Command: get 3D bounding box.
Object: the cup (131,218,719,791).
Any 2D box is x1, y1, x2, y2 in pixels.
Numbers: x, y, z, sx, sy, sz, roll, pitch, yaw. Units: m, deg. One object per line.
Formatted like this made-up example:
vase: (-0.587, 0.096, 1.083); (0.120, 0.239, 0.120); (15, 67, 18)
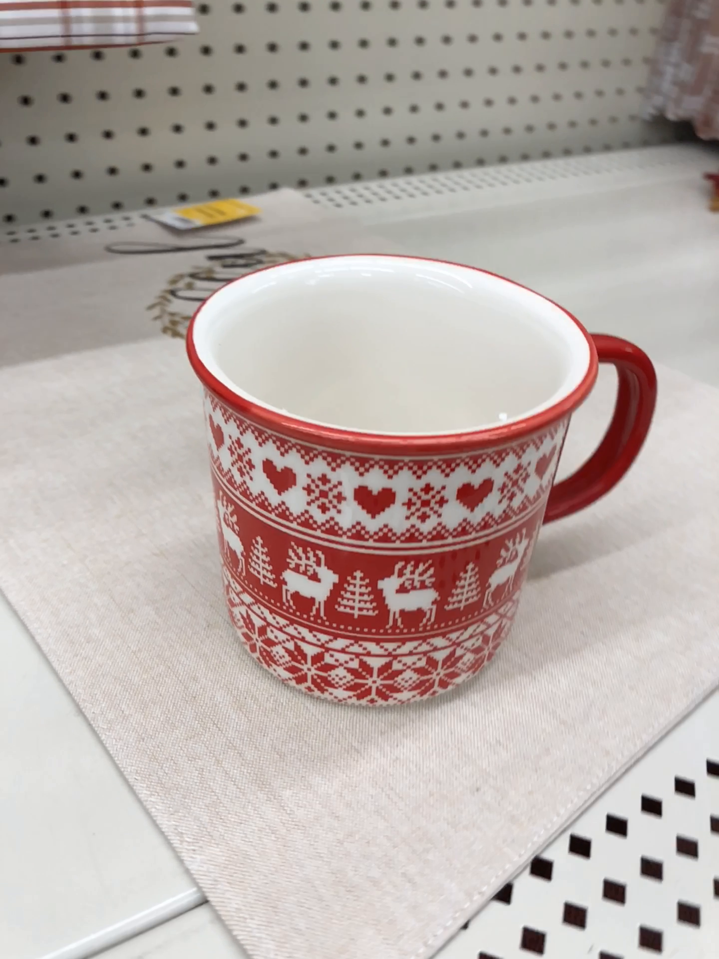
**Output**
cup: (0.025, -0.005, 0.246); (0.150, 0.100, 0.100); (-16, 41, -24)
